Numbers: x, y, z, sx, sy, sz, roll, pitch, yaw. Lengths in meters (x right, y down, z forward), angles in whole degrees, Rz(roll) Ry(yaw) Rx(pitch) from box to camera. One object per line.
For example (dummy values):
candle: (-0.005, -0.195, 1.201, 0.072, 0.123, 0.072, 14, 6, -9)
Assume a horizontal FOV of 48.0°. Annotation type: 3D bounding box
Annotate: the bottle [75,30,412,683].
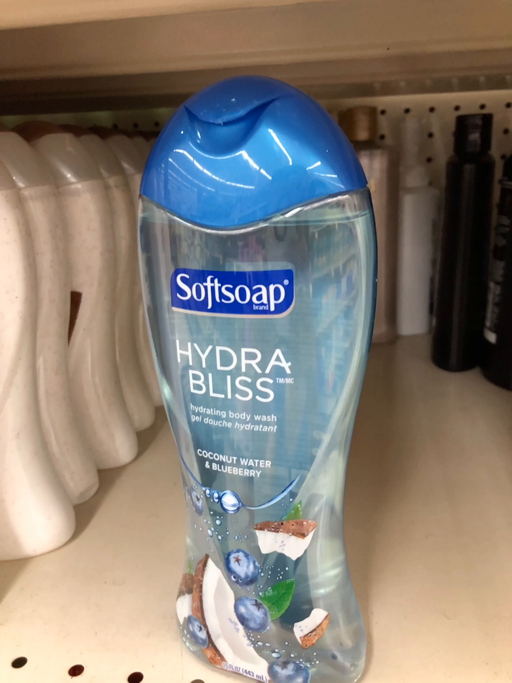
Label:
bottle: (0.003, 0.020, 0.195, 0.080, 0.211, 0.051, 5, 21, 21)
